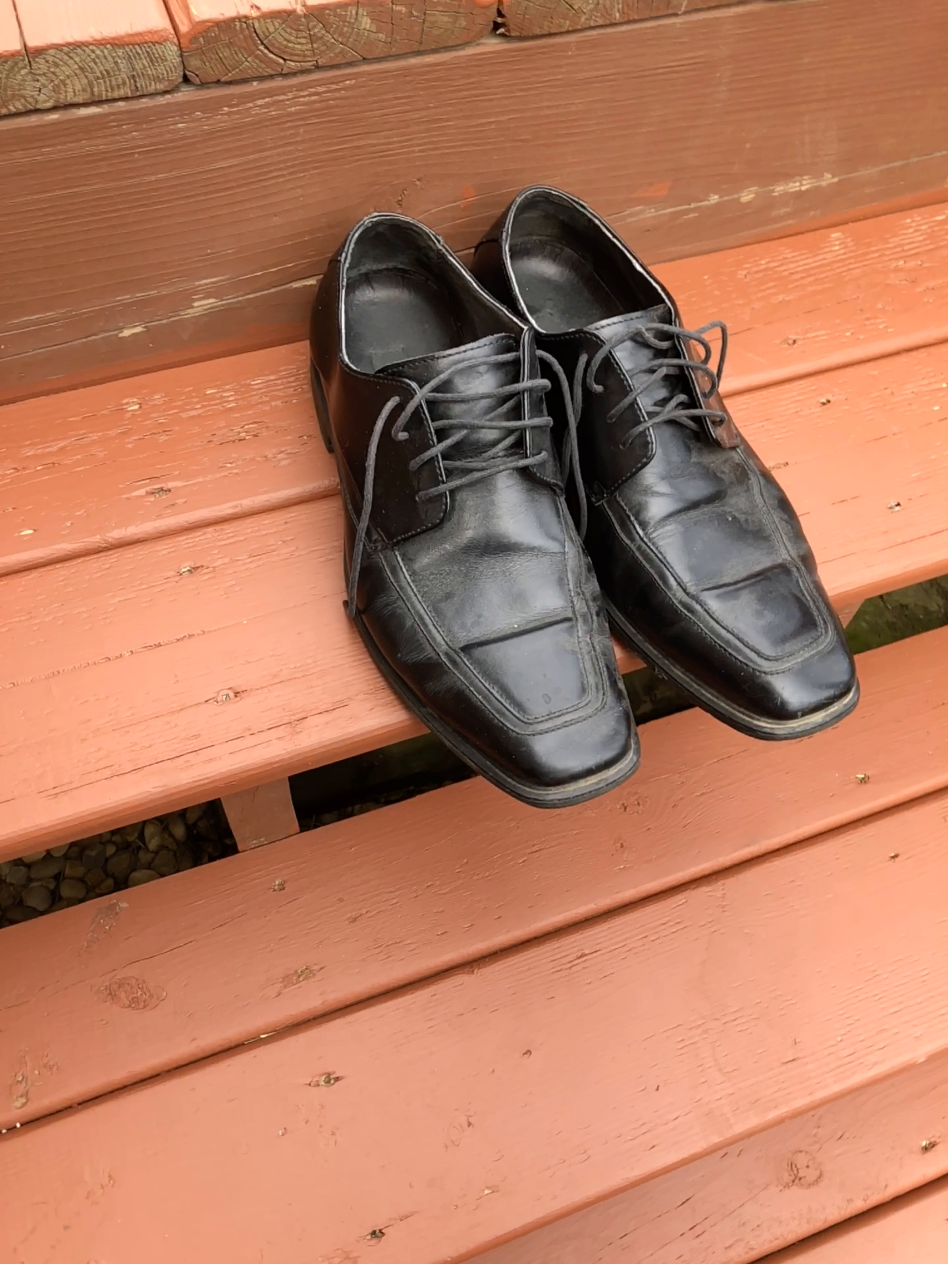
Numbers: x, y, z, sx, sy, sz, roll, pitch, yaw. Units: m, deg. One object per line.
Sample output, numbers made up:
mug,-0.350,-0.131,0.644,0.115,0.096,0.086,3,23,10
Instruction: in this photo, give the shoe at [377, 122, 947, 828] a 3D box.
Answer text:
shoe,0.075,-0.092,0.518,0.130,0.110,0.330,-20,63,-15

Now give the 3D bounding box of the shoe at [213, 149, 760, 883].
shoe,-0.014,-0.071,0.503,0.130,0.110,0.330,-16,62,-13
